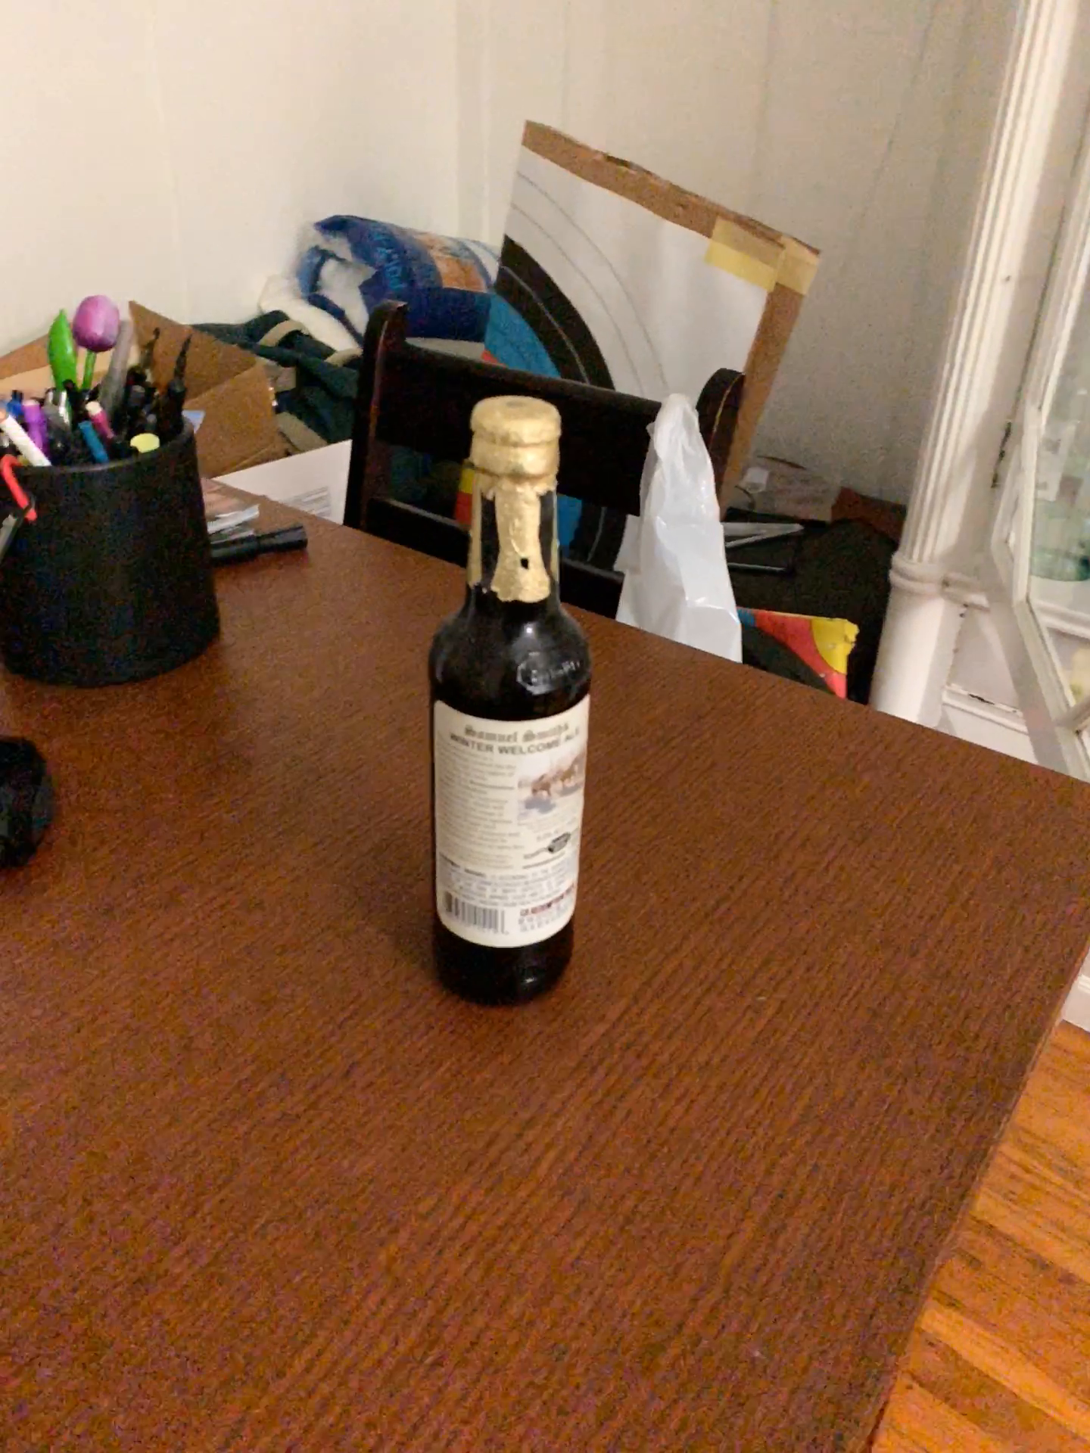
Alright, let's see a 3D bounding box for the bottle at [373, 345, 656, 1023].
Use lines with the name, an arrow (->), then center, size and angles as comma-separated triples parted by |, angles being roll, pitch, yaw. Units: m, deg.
bottle -> -0.010, -0.008, 0.400 | 0.070, 0.229, 0.070 | 1, 32, -1
